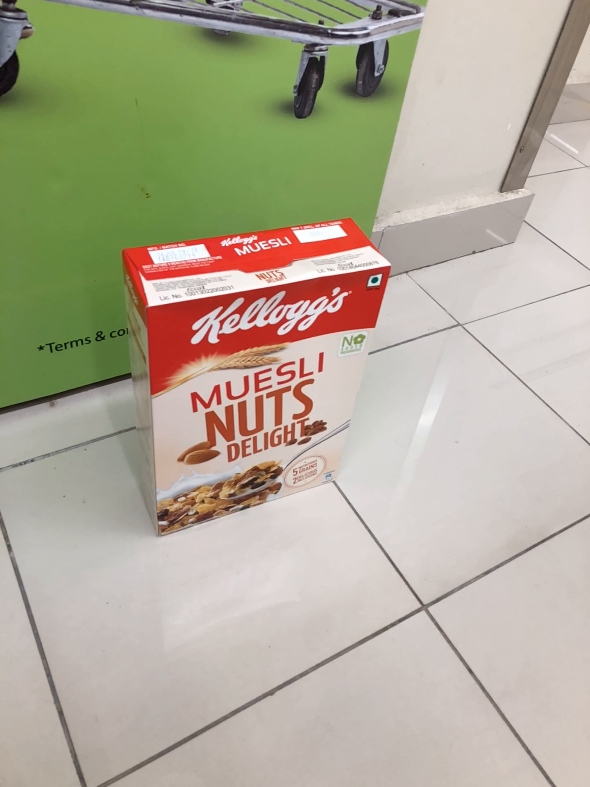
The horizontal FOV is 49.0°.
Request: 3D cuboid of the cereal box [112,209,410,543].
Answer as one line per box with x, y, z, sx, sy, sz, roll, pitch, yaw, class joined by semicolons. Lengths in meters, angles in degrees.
-0.039;-0.008;0.559;0.201;0.268;0.080;-13;48;-23;cereal box
